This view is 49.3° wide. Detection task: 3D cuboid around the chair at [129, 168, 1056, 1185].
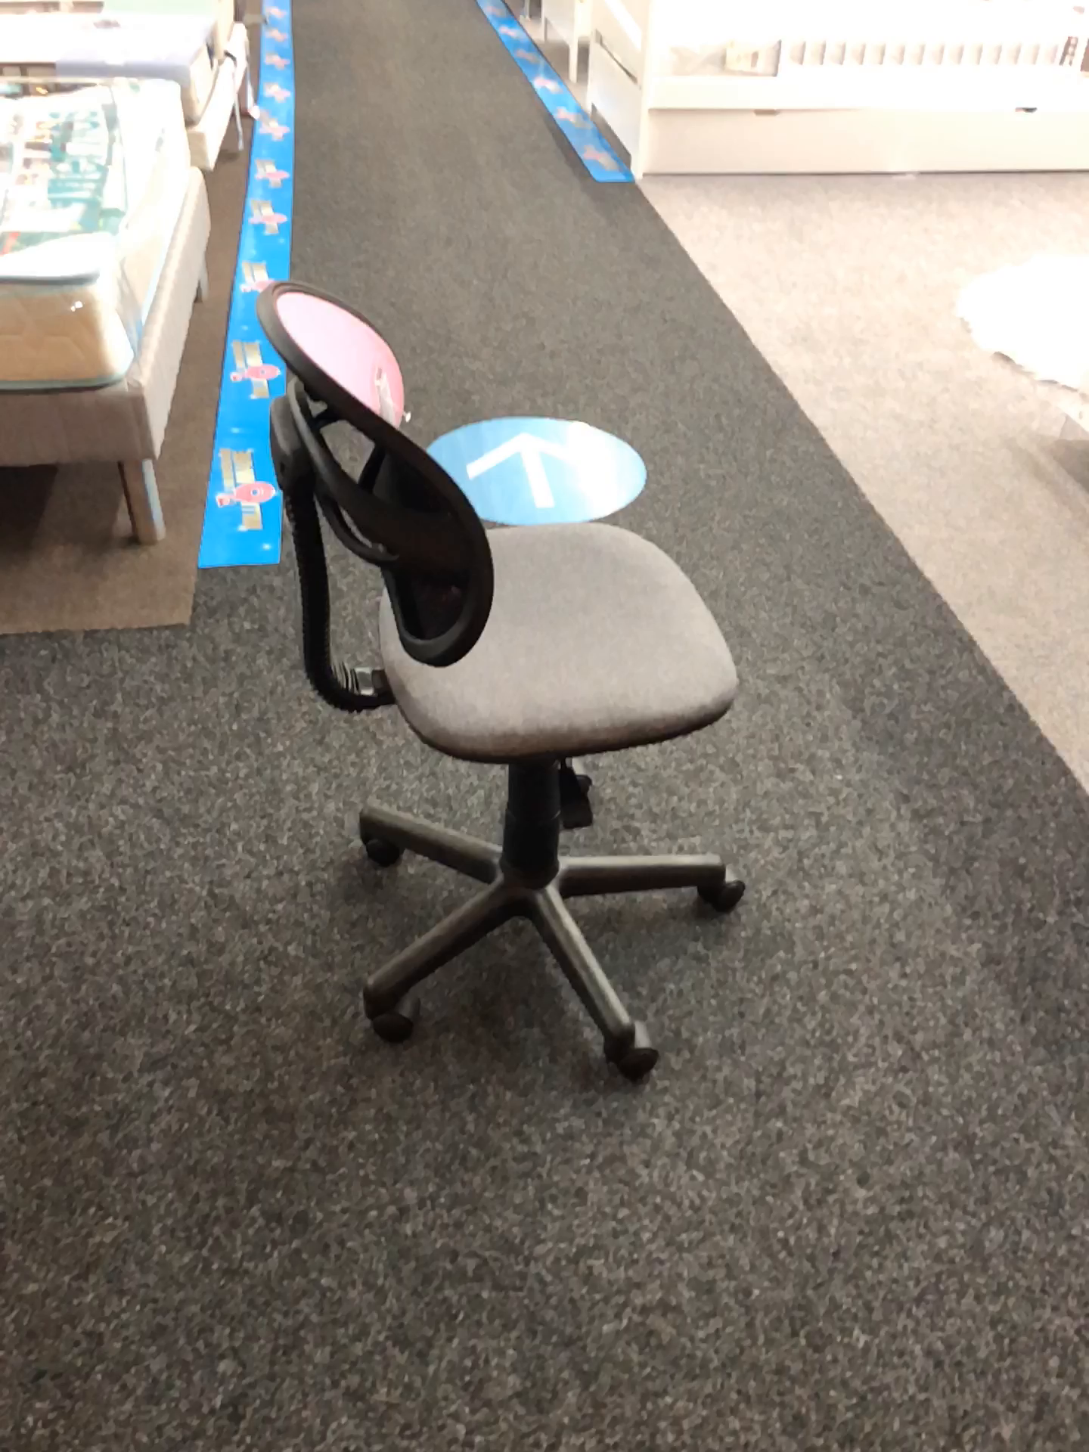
[{"bbox_3d":[-0.010,-0.086,1.278,0.602,0.775,0.602,-16,42,-21],"label":"chair"}]
